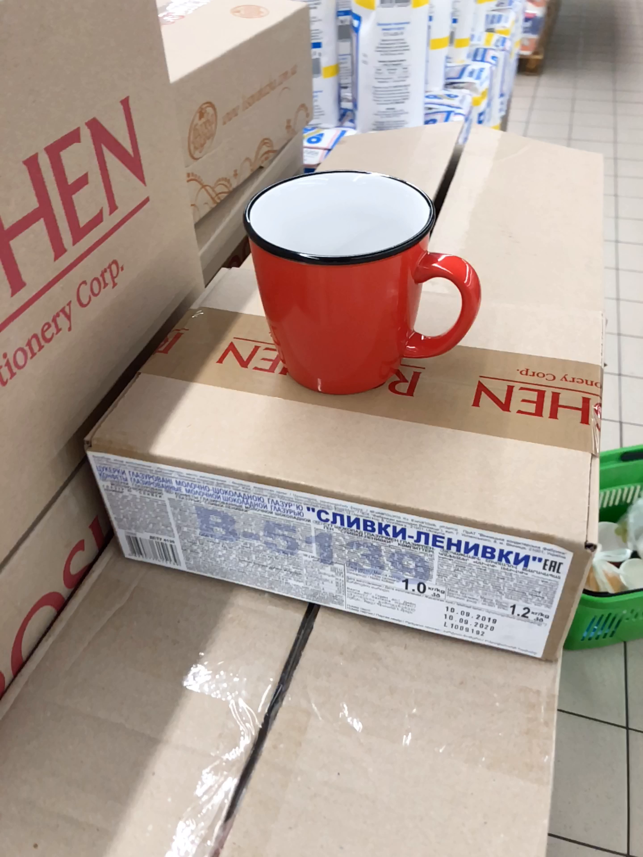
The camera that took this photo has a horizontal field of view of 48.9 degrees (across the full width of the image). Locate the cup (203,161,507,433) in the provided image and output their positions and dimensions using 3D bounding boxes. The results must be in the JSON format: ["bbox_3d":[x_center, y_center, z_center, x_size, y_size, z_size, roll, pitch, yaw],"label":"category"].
[{"bbox_3d":[0.021,-0.076,0.382,0.127,0.089,0.097,14,43,18],"label":"cup"}]
